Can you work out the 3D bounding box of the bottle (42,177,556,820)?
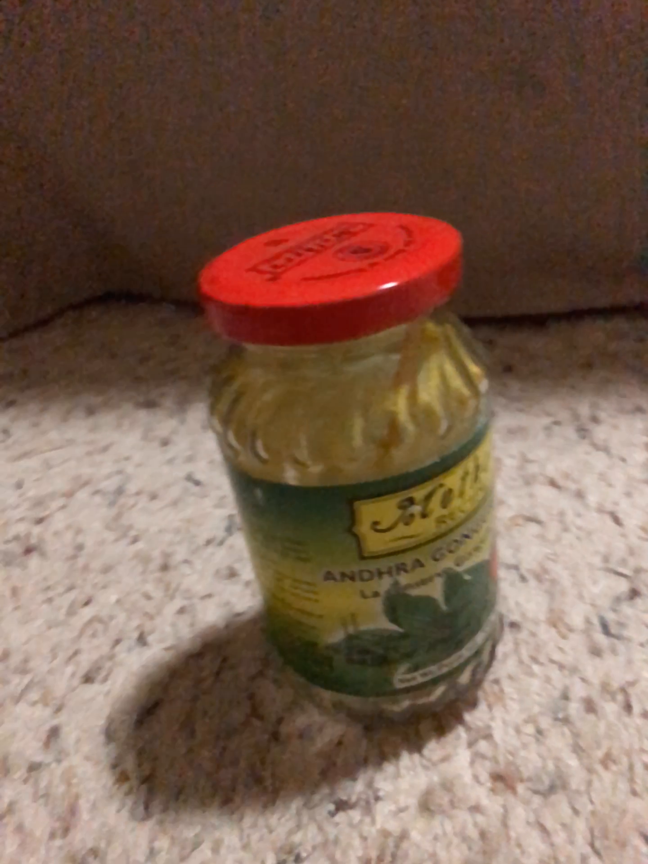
[{"bbox_3d":[0.001,0.009,0.167,0.070,0.110,0.070,-7,31,4],"label":"bottle"}]
